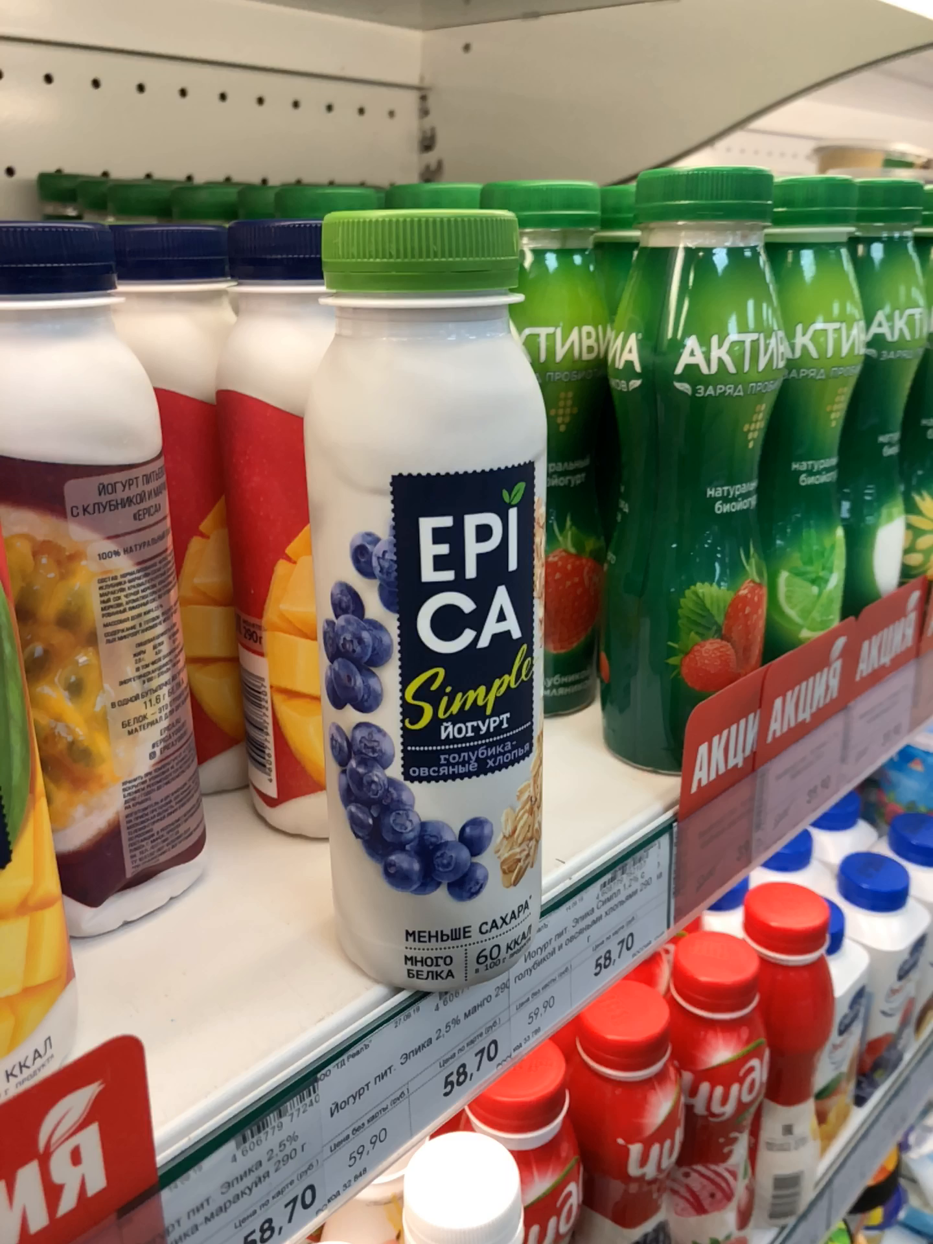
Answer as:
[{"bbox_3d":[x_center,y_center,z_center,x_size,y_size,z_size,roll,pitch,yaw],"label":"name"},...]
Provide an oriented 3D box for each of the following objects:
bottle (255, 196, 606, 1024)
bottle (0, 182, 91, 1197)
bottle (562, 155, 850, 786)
[{"bbox_3d":[-0.010,-0.003,0.233,0.053,0.170,0.052,0,21,0],"label":"bottle"},{"bbox_3d":[-0.109,0.013,0.190,0.053,0.170,0.049,0,21,0],"label":"bottle"},{"bbox_3d":[0.069,-0.046,0.328,0.053,0.181,0.052,0,21,0],"label":"bottle"}]
